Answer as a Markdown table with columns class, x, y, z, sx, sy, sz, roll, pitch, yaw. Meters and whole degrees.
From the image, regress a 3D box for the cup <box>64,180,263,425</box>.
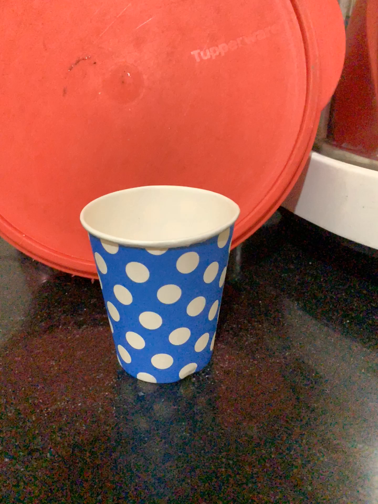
| class | x | y | z | sx | sy | sz | roll | pitch | yaw |
| --- | --- | --- | --- | --- | --- | --- | --- | --- | --- |
| cup | -0.016 | 0.017 | 0.190 | 0.070 | 0.079 | 0.070 | 0 | 25 | 0 |
